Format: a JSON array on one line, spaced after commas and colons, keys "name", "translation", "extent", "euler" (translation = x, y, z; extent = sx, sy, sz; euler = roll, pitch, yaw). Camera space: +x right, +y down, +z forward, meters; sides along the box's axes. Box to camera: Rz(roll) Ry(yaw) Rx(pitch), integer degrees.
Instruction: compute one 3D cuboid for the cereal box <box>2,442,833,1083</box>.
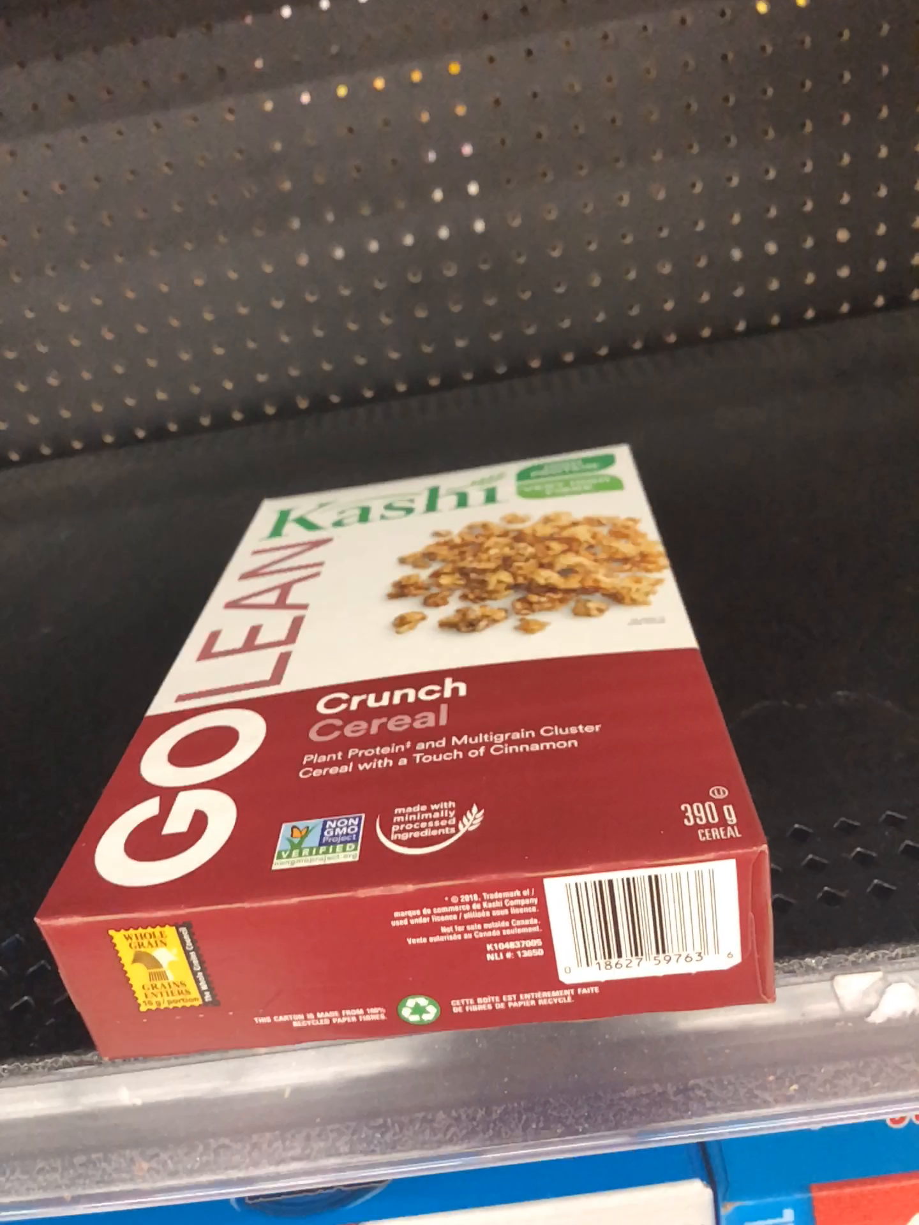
[{"name": "cereal box", "translation": [-0.005, 0.018, 0.362], "extent": [0.180, 0.050, 0.291], "euler": [-7, 25, 5]}]
